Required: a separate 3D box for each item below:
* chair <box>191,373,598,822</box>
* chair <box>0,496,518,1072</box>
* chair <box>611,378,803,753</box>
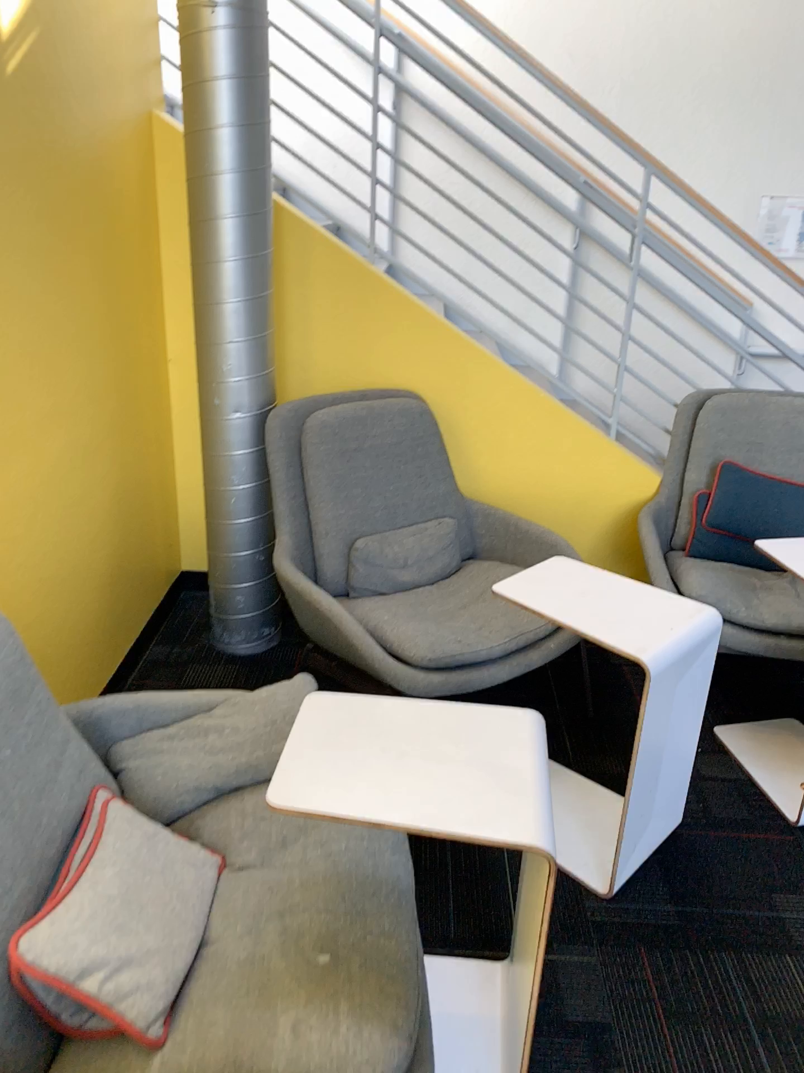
[{"bbox_3d":[-0.030,0.086,2.623,0.891,1.015,0.843,-16,26,-37],"label":"chair"},{"bbox_3d":[-0.376,0.530,1.203,0.870,0.925,0.804,-3,22,-6],"label":"chair"},{"bbox_3d":[1.231,0.020,2.813,0.870,0.946,0.883,6,19,11],"label":"chair"}]
